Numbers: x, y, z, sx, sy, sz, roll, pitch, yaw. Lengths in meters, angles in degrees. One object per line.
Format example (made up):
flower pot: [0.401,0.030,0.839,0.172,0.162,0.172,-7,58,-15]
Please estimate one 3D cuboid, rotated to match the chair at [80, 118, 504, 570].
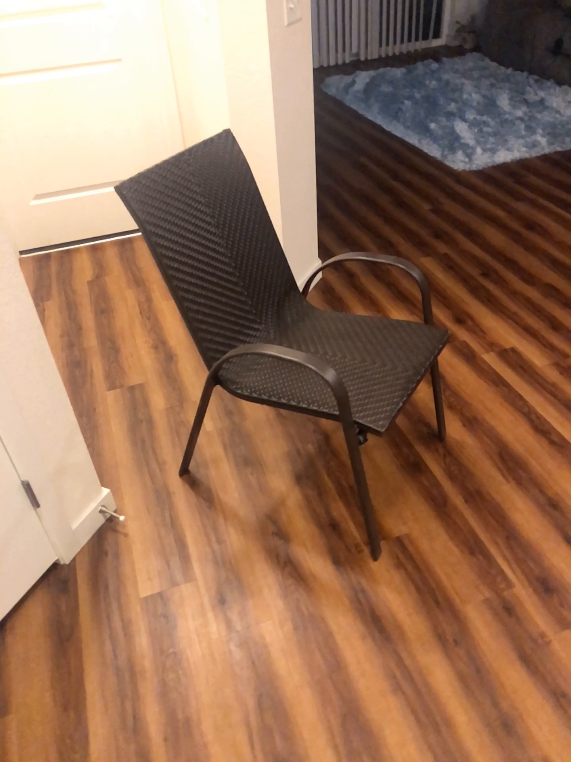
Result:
chair: [0.055,-0.136,1.648,0.748,0.853,0.599,17,43,26]
